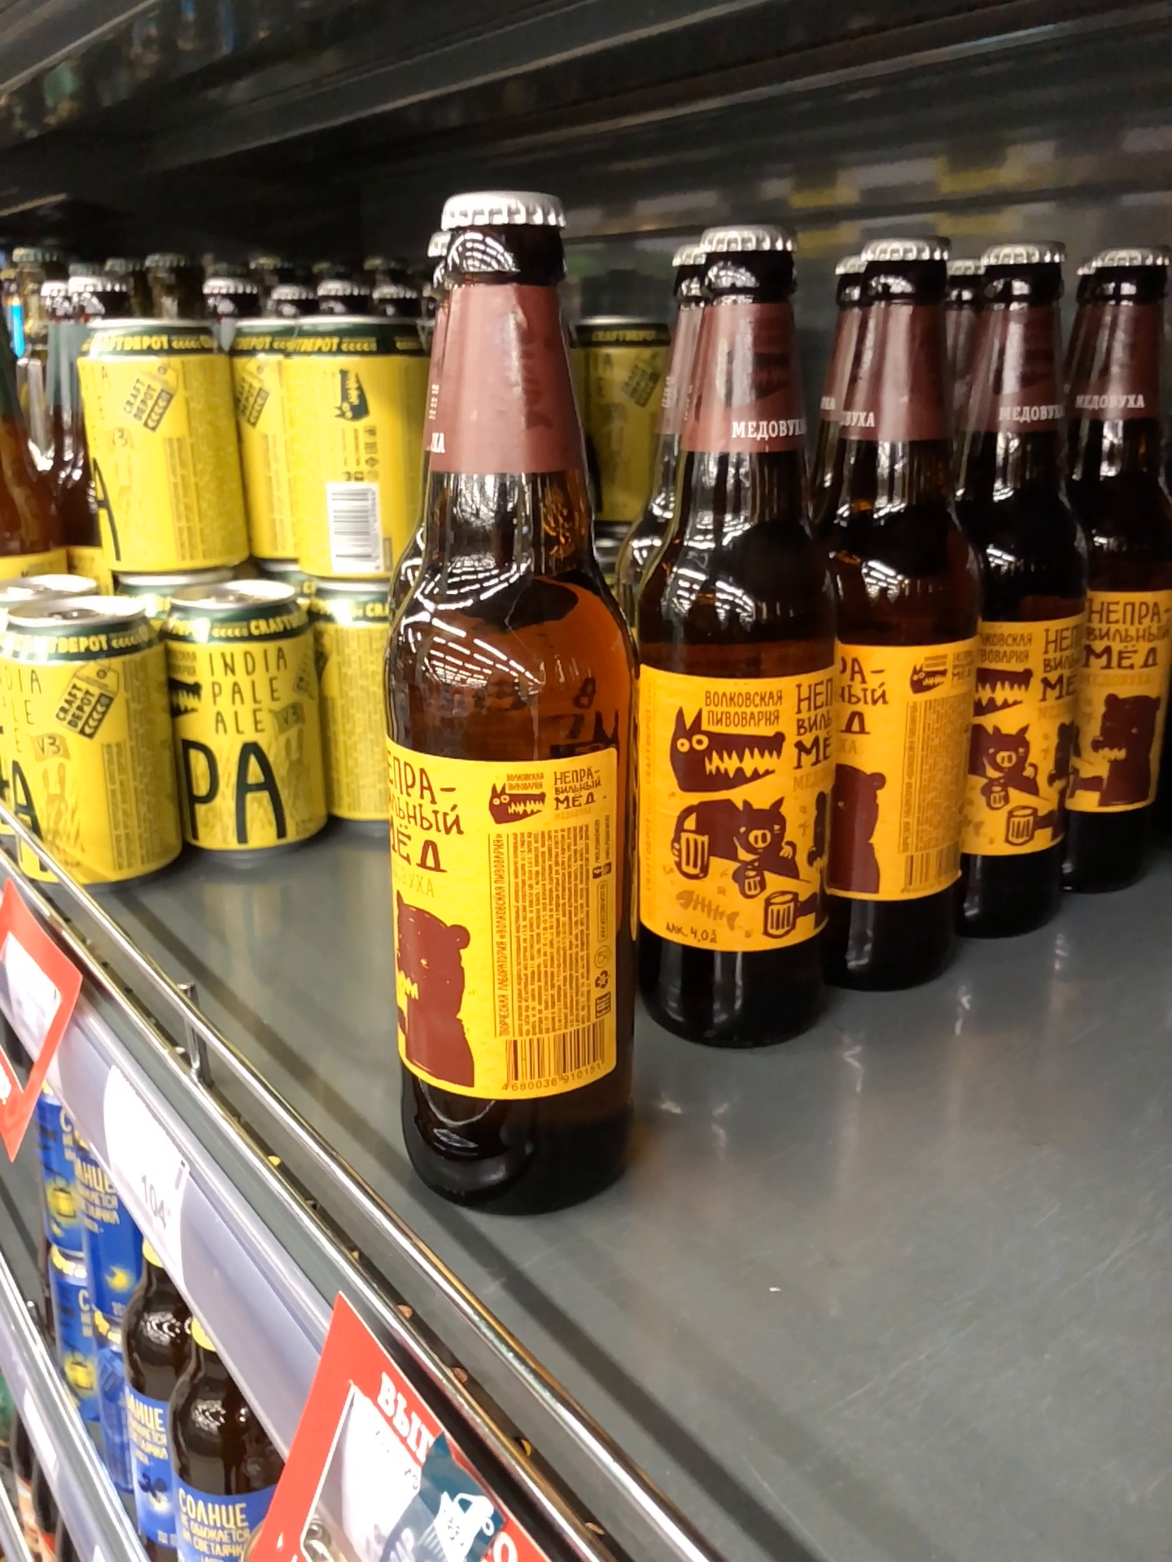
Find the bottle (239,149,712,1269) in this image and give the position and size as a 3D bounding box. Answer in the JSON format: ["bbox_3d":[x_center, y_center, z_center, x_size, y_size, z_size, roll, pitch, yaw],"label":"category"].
[{"bbox_3d":[-0.025,-0.016,0.322,0.070,0.243,0.080,-15,24,-36],"label":"bottle"}]
